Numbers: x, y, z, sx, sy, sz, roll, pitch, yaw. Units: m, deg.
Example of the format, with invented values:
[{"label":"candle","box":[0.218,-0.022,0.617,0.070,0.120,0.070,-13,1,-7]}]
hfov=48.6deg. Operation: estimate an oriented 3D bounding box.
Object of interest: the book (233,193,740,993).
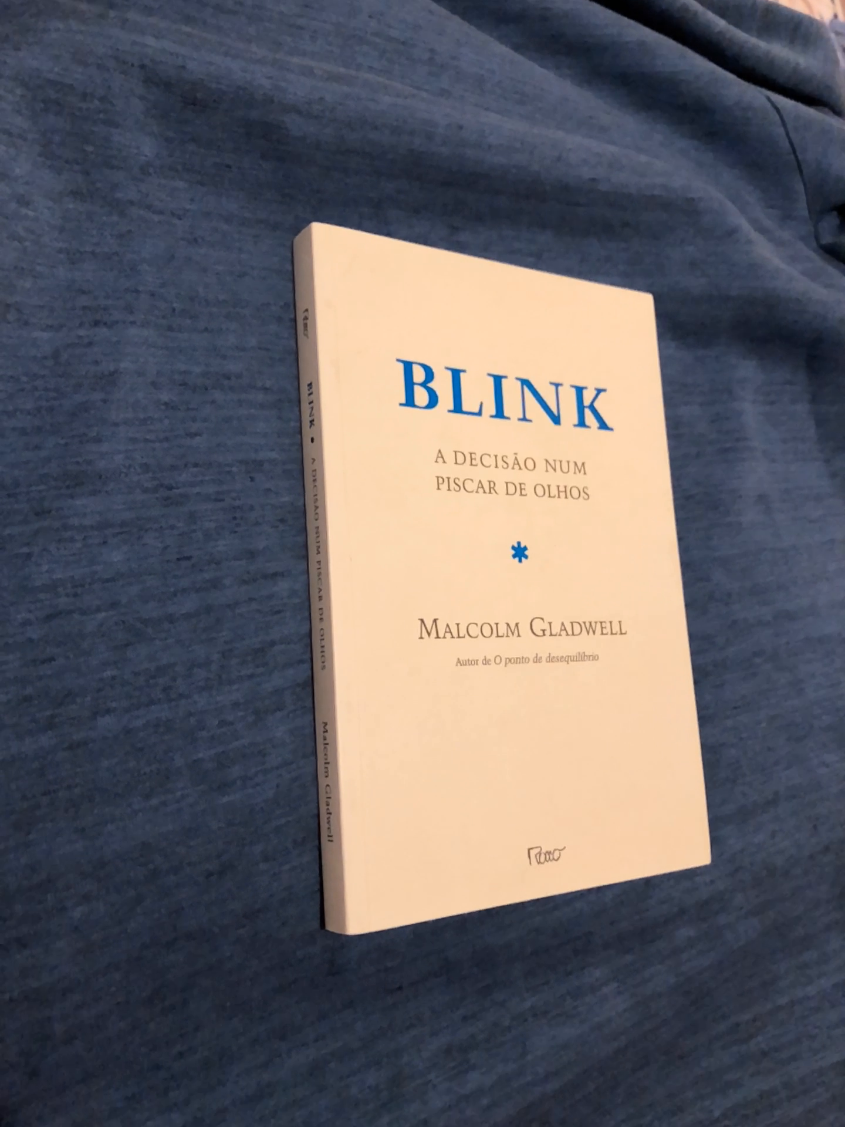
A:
[{"label":"book","box":[0.022,0.003,0.304,0.150,0.030,0.220,2,76,-32]}]
